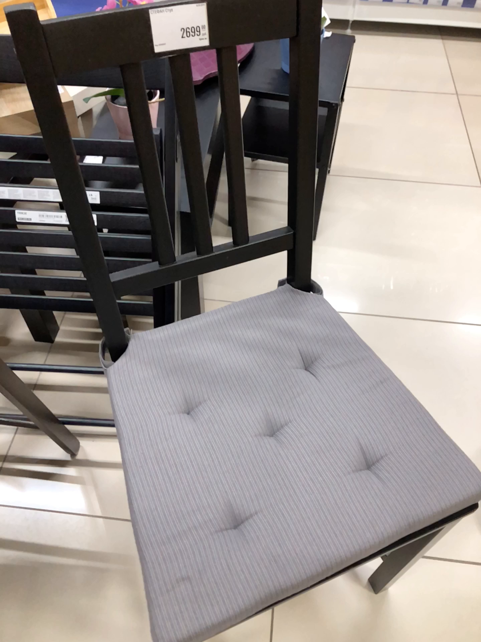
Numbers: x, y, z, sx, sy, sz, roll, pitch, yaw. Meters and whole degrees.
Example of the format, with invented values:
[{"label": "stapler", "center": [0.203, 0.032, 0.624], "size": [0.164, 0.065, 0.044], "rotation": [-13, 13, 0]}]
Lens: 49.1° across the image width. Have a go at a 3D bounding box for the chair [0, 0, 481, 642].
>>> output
[{"label": "chair", "center": [0.020, 0.123, 0.725], "size": [0.411, 0.894, 0.492], "rotation": [-17, 54, -14]}]
